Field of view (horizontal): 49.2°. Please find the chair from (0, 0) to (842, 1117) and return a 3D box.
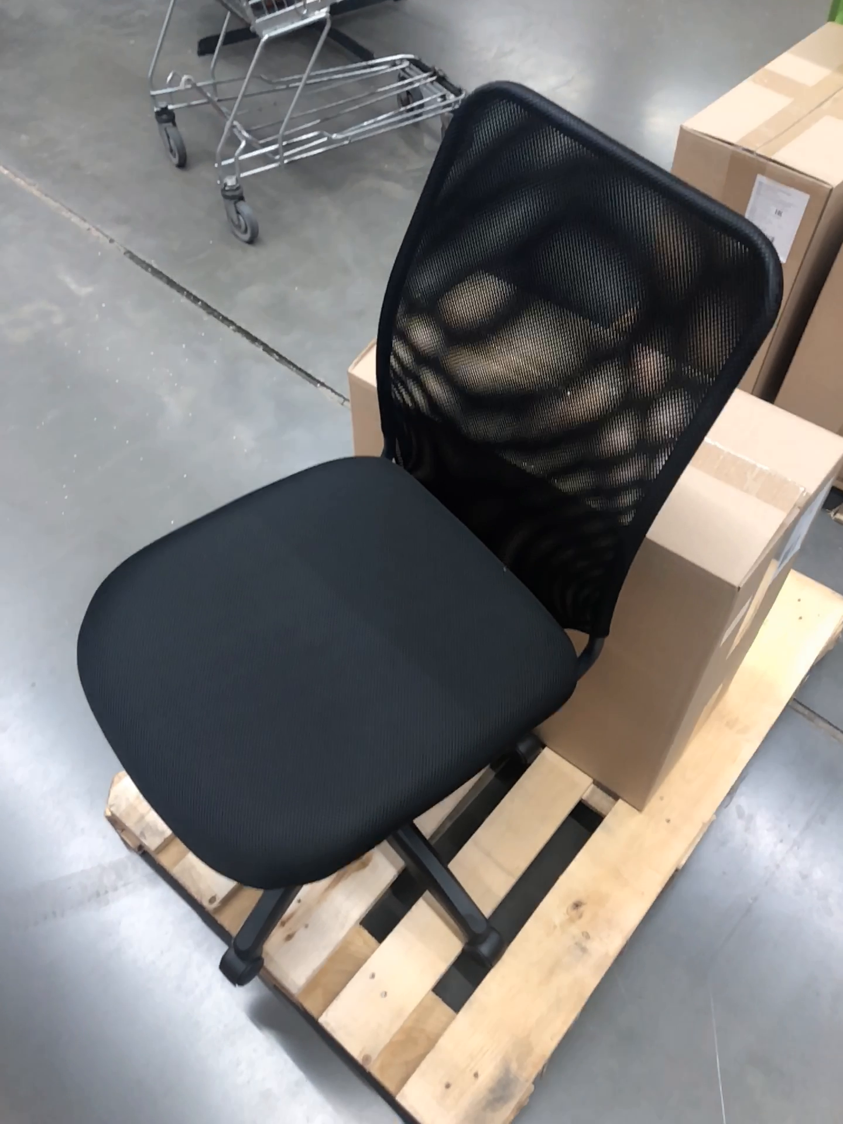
[{"bbox_3d":[-0.106,0.080,1.060,0.572,1.034,0.602,-31,58,-23],"label":"chair"}]
